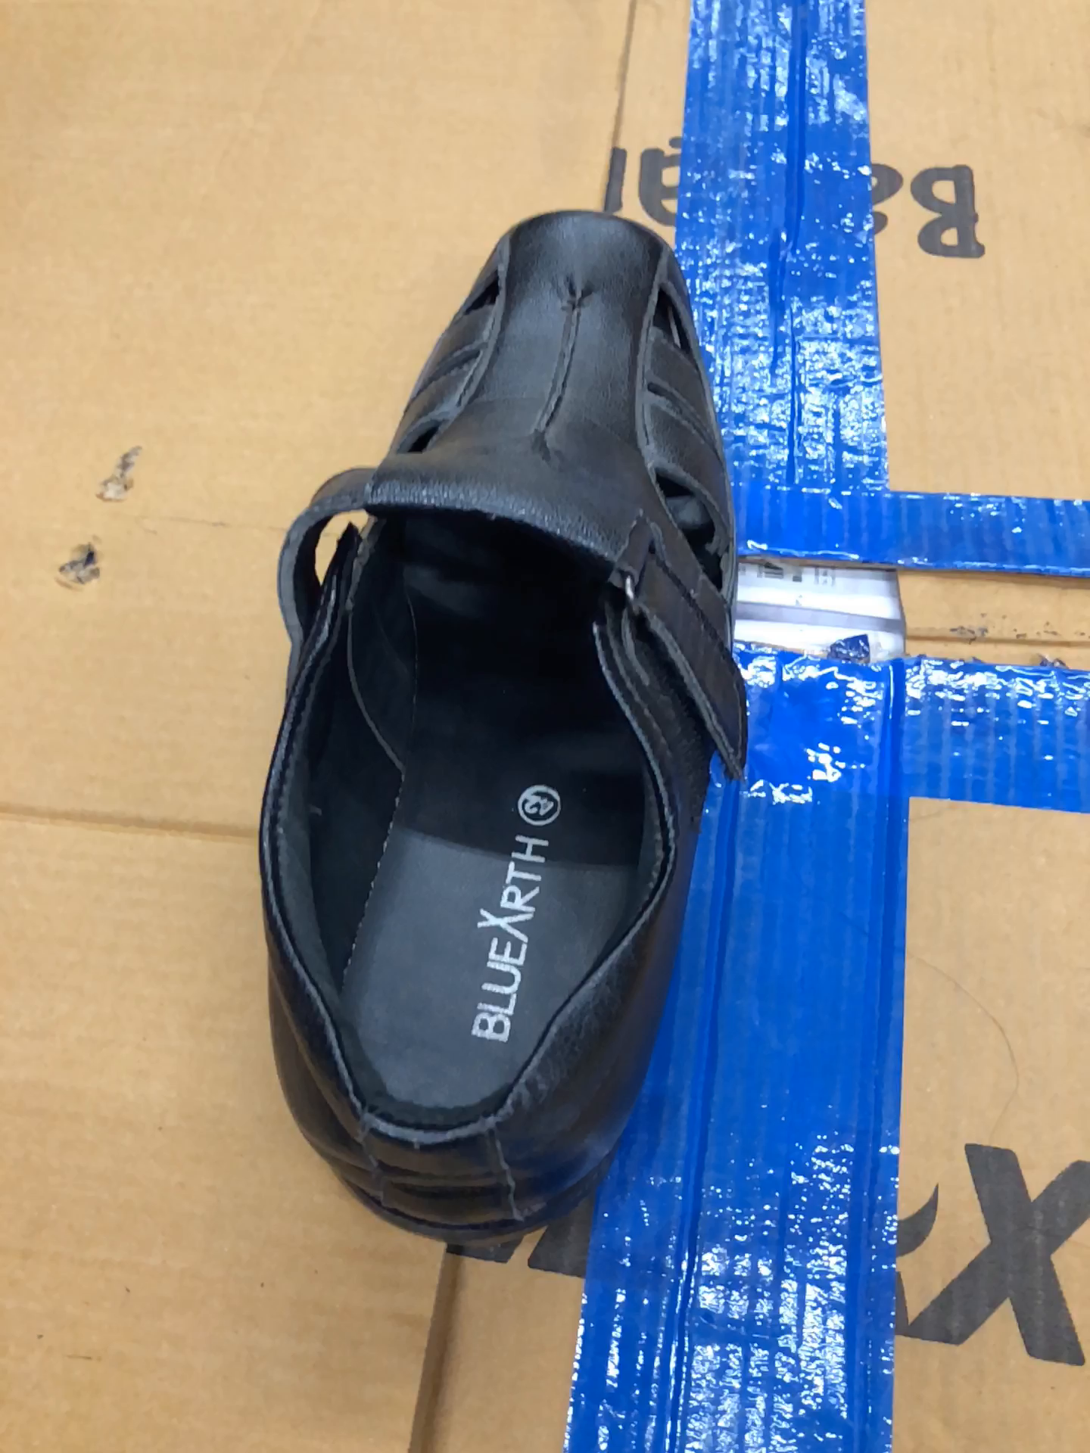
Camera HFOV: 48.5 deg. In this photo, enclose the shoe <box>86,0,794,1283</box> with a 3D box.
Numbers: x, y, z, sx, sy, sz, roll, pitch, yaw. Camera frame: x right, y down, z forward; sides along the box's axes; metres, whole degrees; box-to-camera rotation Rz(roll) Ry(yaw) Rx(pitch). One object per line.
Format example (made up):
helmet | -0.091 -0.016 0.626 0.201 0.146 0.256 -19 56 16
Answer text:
shoe | 0.000 -0.044 0.284 0.100 0.097 0.305 4 62 4
